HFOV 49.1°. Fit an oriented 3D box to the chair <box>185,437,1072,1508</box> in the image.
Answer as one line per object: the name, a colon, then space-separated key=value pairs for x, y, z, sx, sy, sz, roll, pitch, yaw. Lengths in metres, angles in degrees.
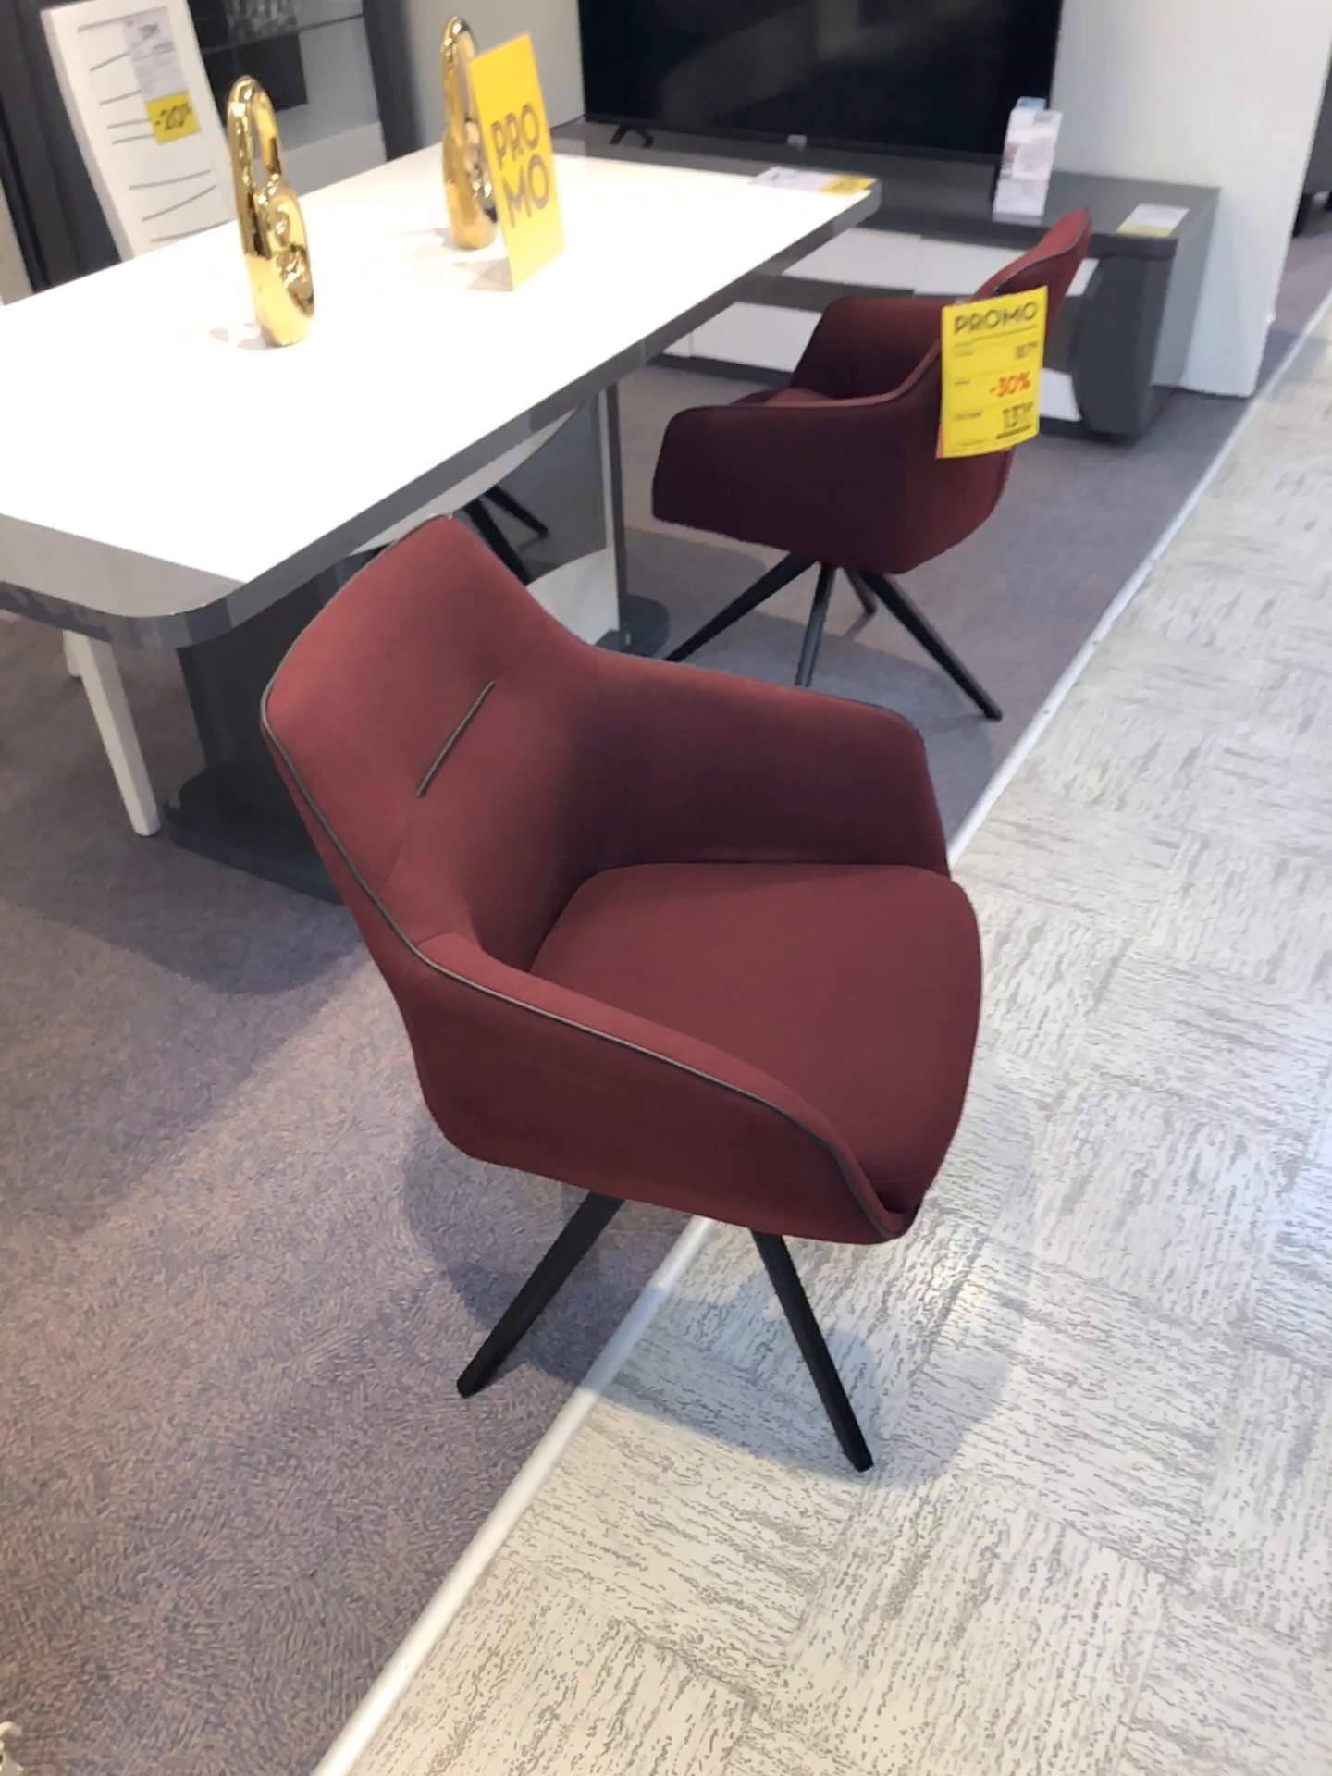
chair: x=0.027 y=0.063 z=1.381 sx=0.570 sy=0.735 sz=0.584 roll=8 pitch=40 yaw=11
